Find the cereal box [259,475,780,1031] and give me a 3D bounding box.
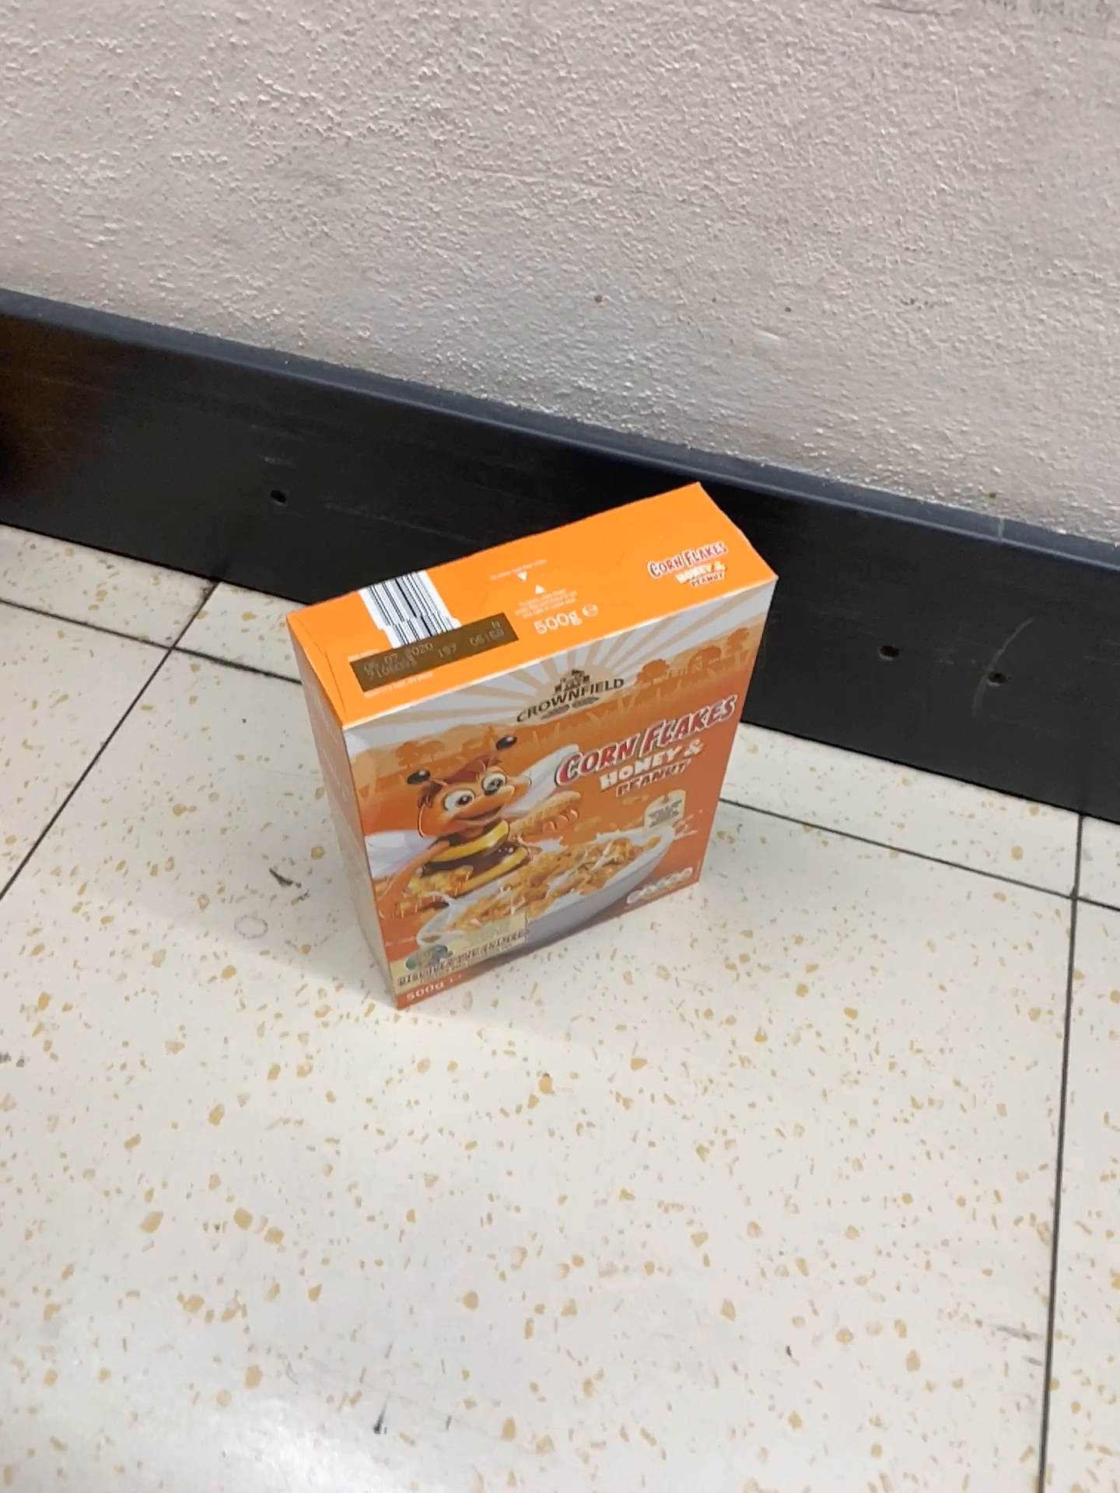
[{"bbox_3d":[-0.018,0.018,0.573,0.200,0.268,0.070,-20,56,-16],"label":"cereal box"}]
